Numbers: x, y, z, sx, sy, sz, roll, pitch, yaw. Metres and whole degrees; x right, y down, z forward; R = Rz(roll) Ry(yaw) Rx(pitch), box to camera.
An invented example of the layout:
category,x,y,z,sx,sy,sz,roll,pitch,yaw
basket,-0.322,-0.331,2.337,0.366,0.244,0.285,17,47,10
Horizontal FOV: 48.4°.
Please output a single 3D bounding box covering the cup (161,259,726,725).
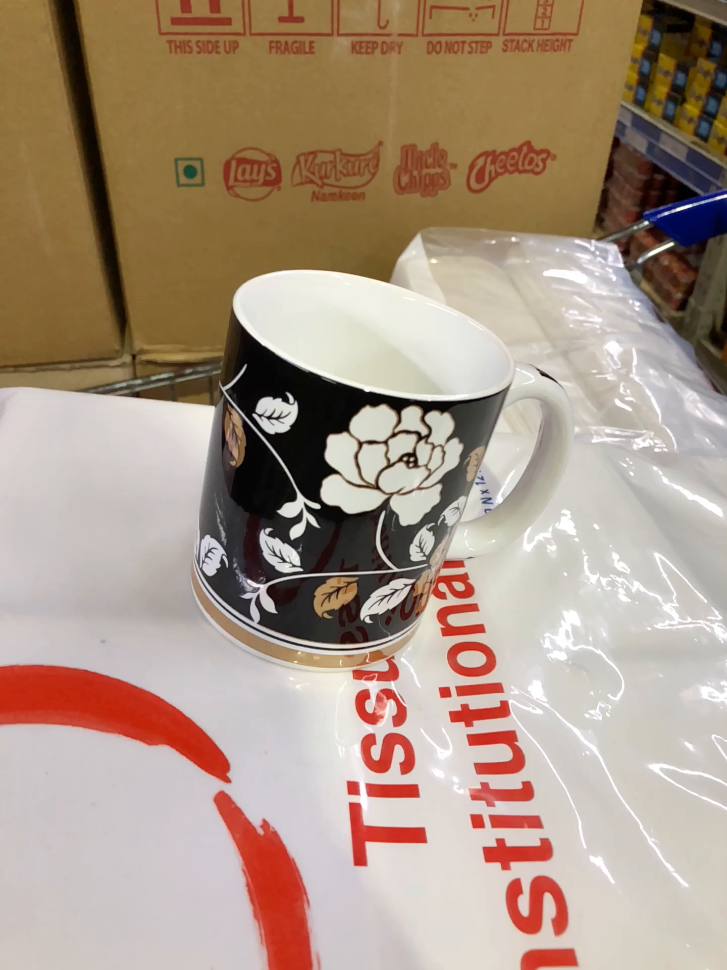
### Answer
category,x,y,z,sx,sy,sz,roll,pitch,yaw
cup,0.016,0.000,0.252,0.130,0.099,0.080,-1,38,-27
